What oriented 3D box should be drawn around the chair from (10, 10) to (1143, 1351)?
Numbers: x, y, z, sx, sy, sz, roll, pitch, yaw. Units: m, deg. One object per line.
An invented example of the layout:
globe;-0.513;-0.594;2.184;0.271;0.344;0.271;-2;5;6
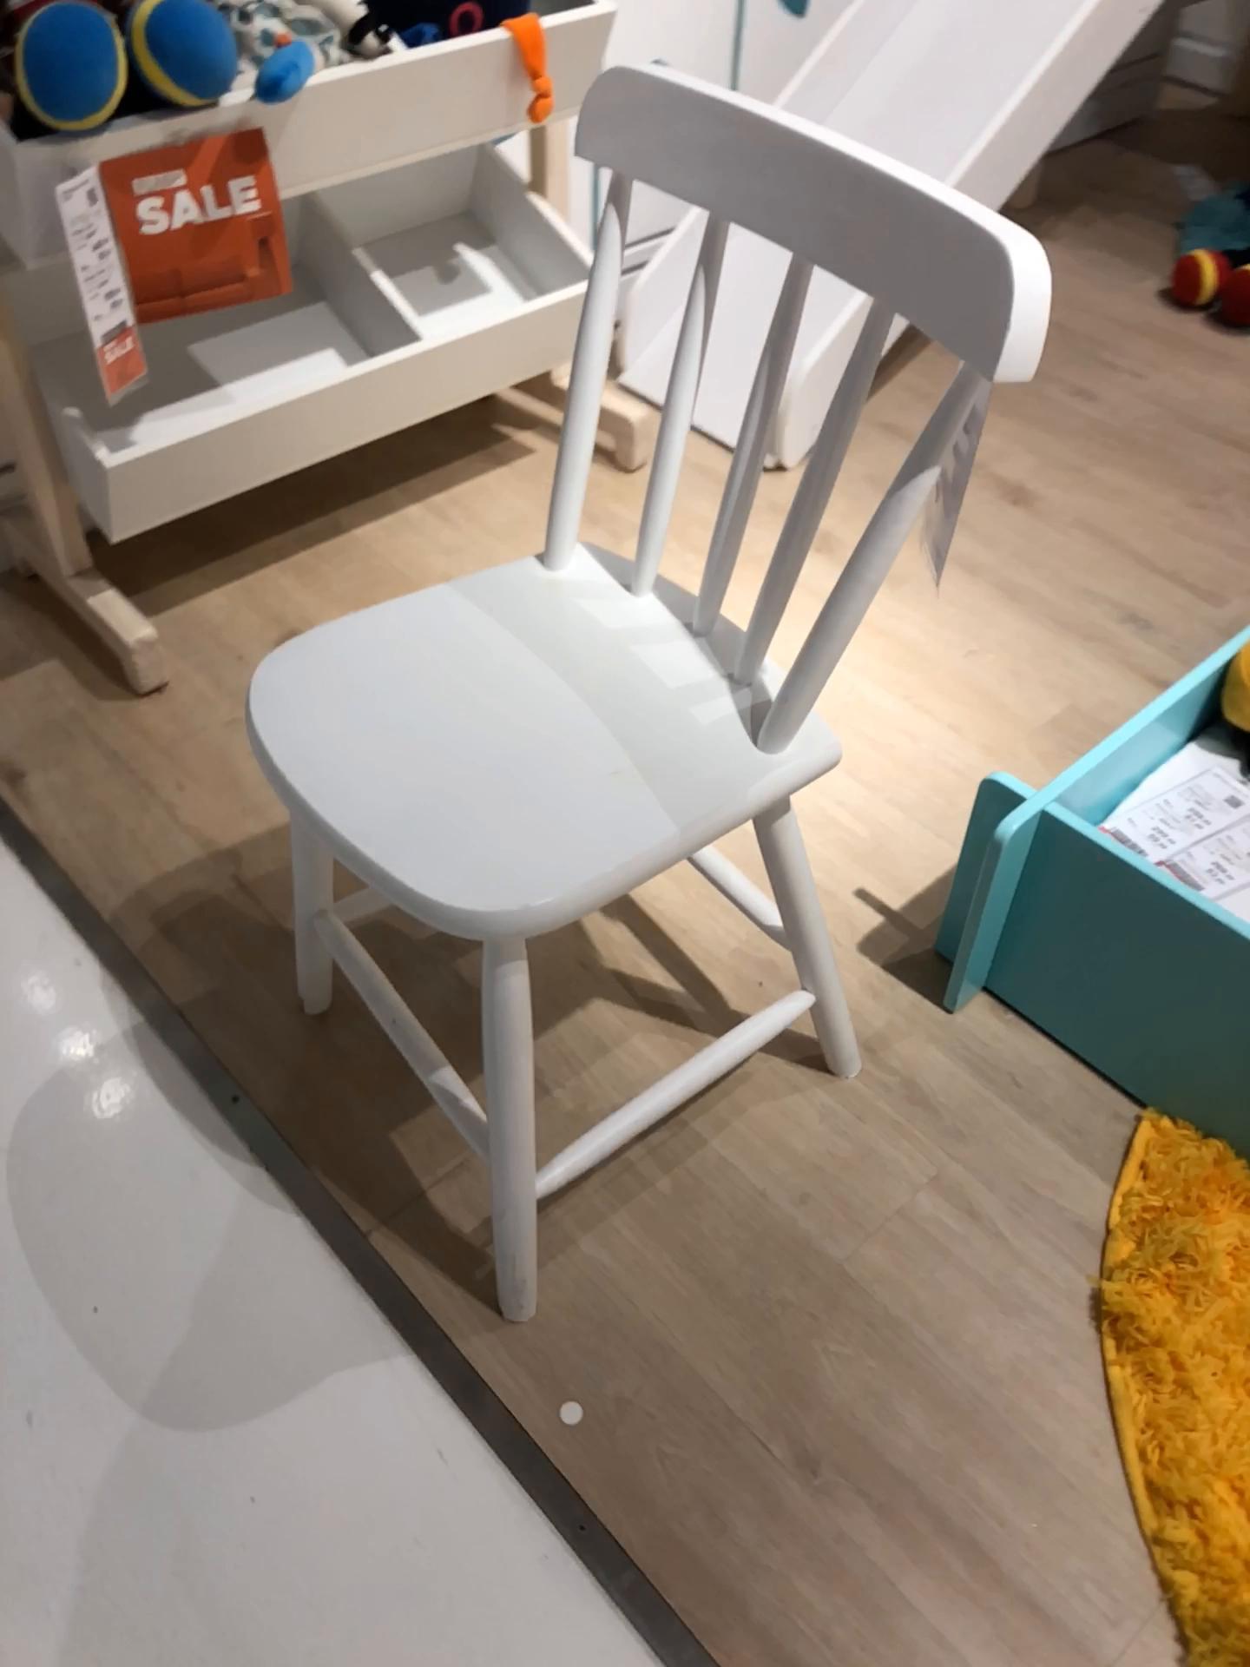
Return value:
chair;-0.044;-0.086;1.004;0.431;0.754;0.442;-27;52;-25
